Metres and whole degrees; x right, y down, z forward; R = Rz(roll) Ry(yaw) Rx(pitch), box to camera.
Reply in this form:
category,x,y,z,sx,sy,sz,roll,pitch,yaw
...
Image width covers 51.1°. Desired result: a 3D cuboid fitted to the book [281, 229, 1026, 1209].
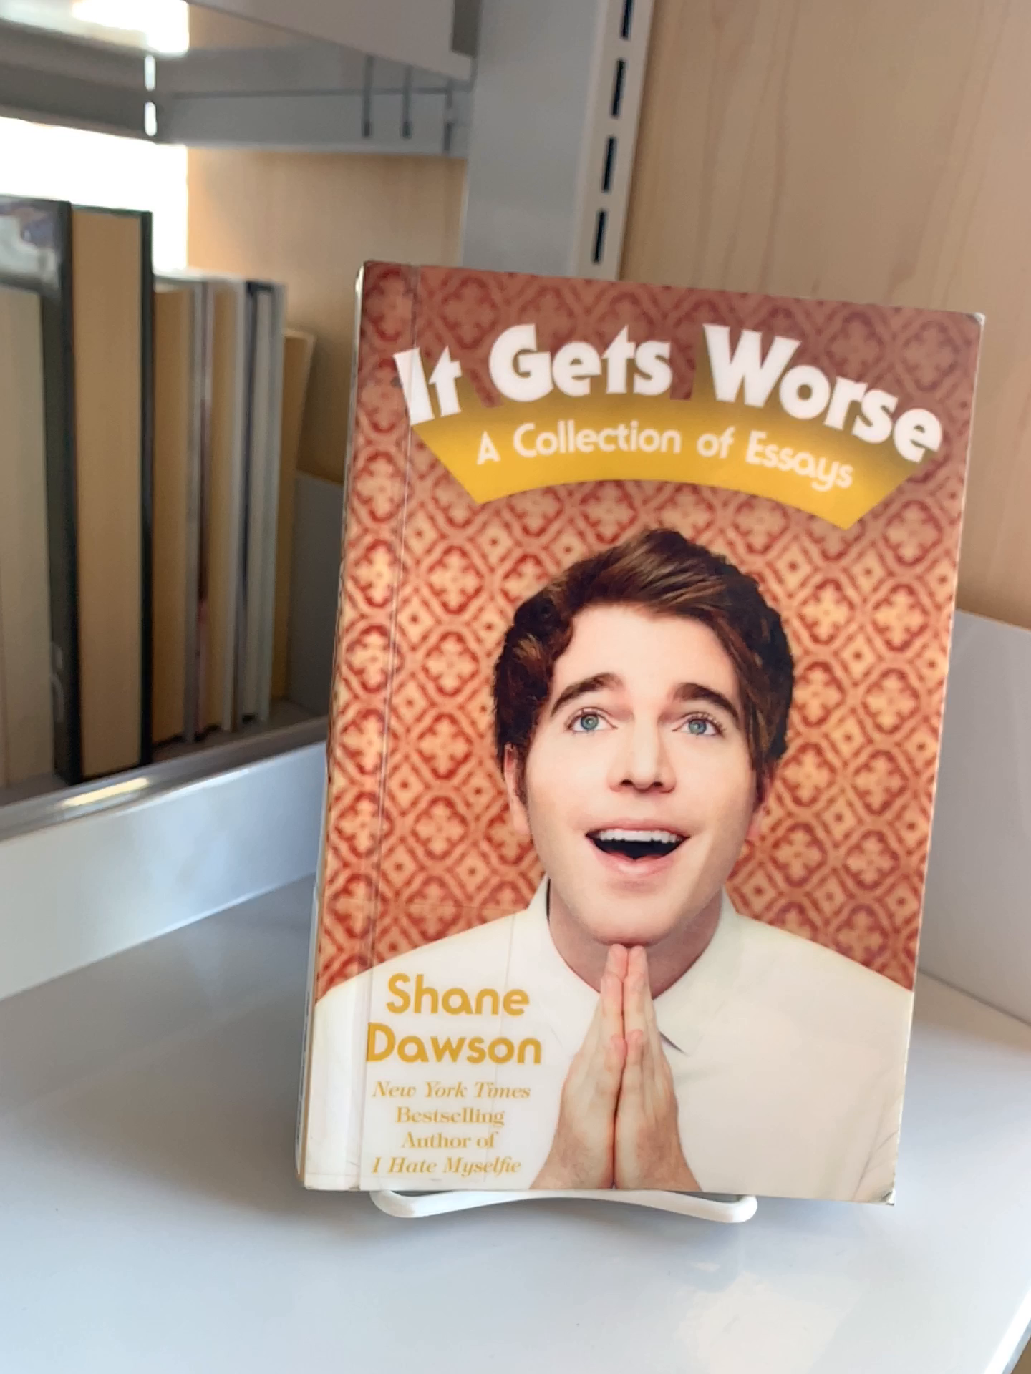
category,x,y,z,sx,sy,sz,roll,pitch,yaw
book,0.029,0.014,0.254,0.149,0.210,0.030,4,5,-7
